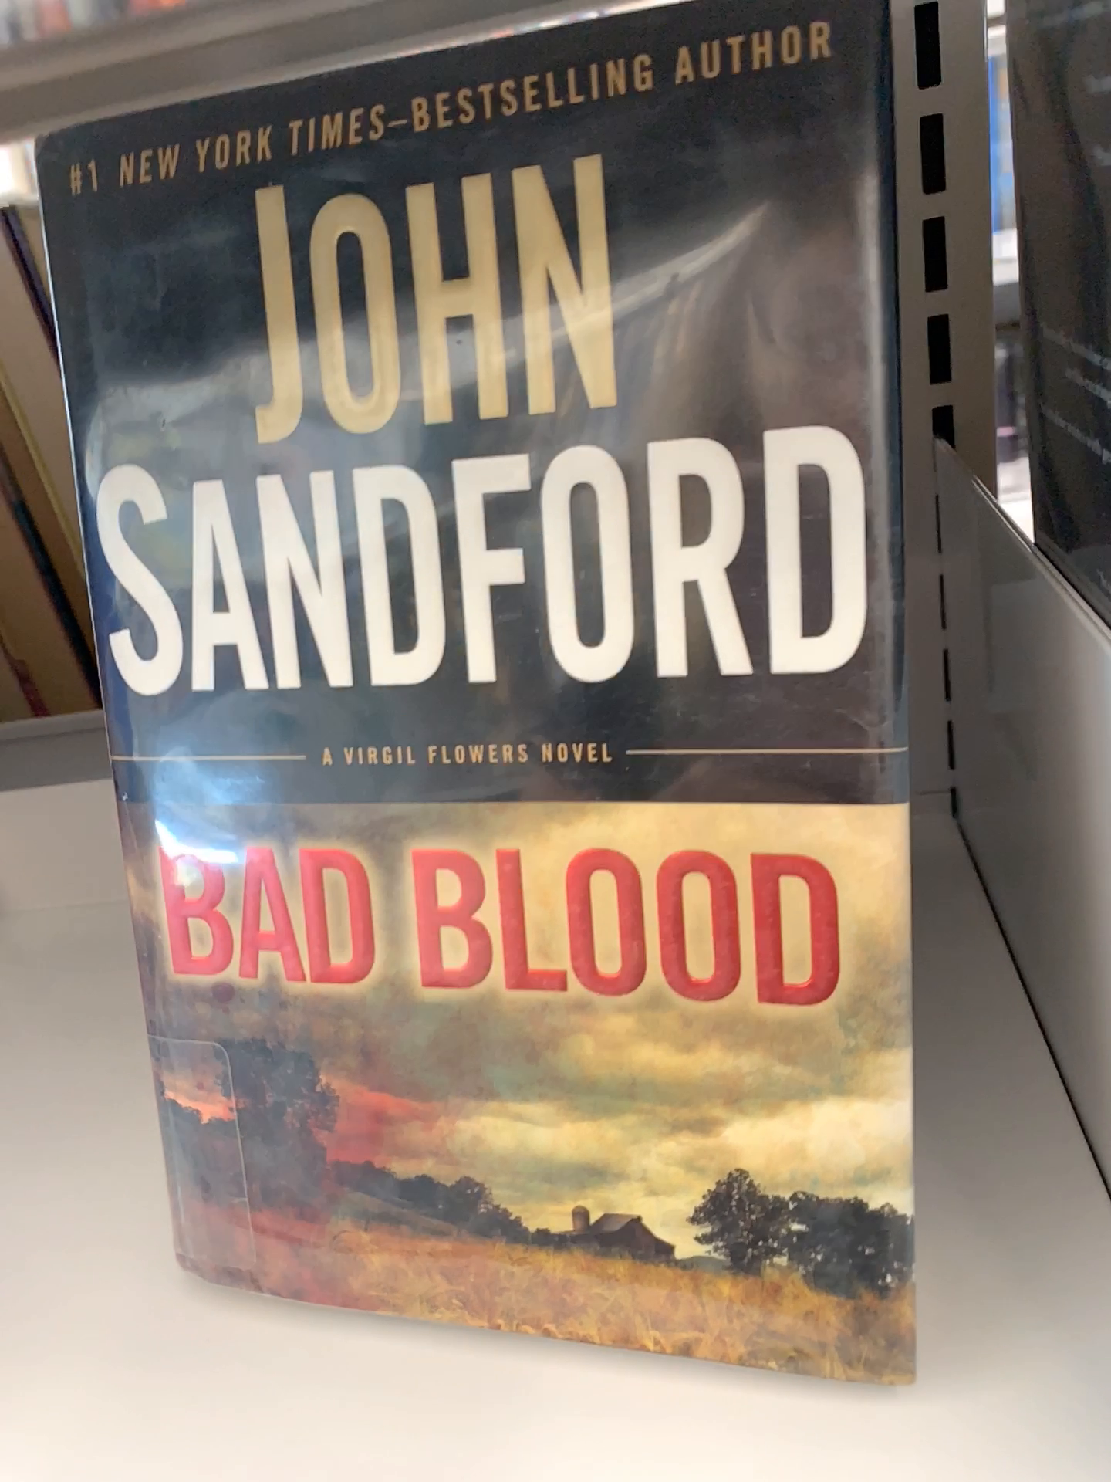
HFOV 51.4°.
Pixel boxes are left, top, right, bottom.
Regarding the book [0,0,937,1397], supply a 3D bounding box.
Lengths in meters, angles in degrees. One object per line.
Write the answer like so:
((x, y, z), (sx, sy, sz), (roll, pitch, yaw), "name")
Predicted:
((-0.021, -0.003, 0.213), (0.165, 0.215, 0.050), (-2, 13, 19), "book")
